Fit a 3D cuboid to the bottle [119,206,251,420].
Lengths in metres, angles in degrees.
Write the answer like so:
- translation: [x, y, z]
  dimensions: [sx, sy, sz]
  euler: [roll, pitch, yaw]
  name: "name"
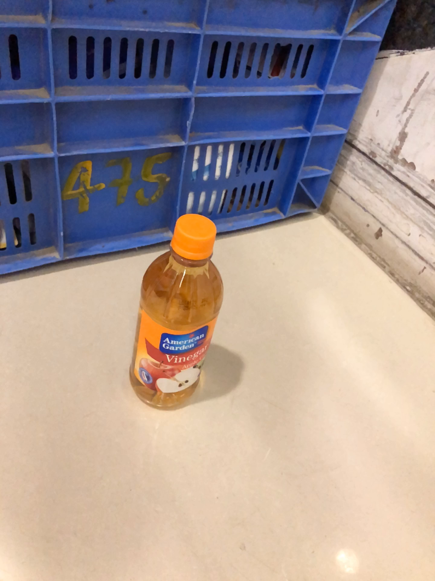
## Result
- translation: [-0.036, 0.023, 0.397]
  dimensions: [0.070, 0.169, 0.070]
  euler: [8, 42, -7]
  name: "bottle"
